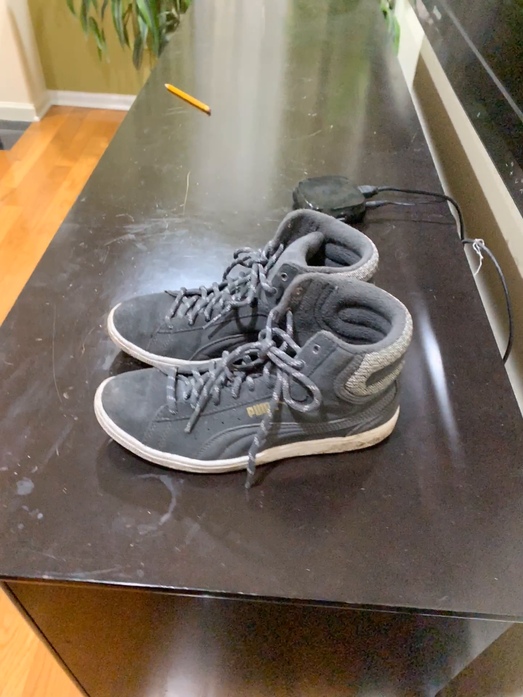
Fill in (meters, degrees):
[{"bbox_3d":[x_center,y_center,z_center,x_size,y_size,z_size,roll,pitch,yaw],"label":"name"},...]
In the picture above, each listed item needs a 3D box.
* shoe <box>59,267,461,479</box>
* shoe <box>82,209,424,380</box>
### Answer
[{"bbox_3d":[-0.004,0.019,0.414,0.252,0.124,0.098,-2,46,-5],"label":"shoe"},{"bbox_3d":[-0.010,-0.050,0.480,0.260,0.107,0.101,-2,46,-6],"label":"shoe"}]
